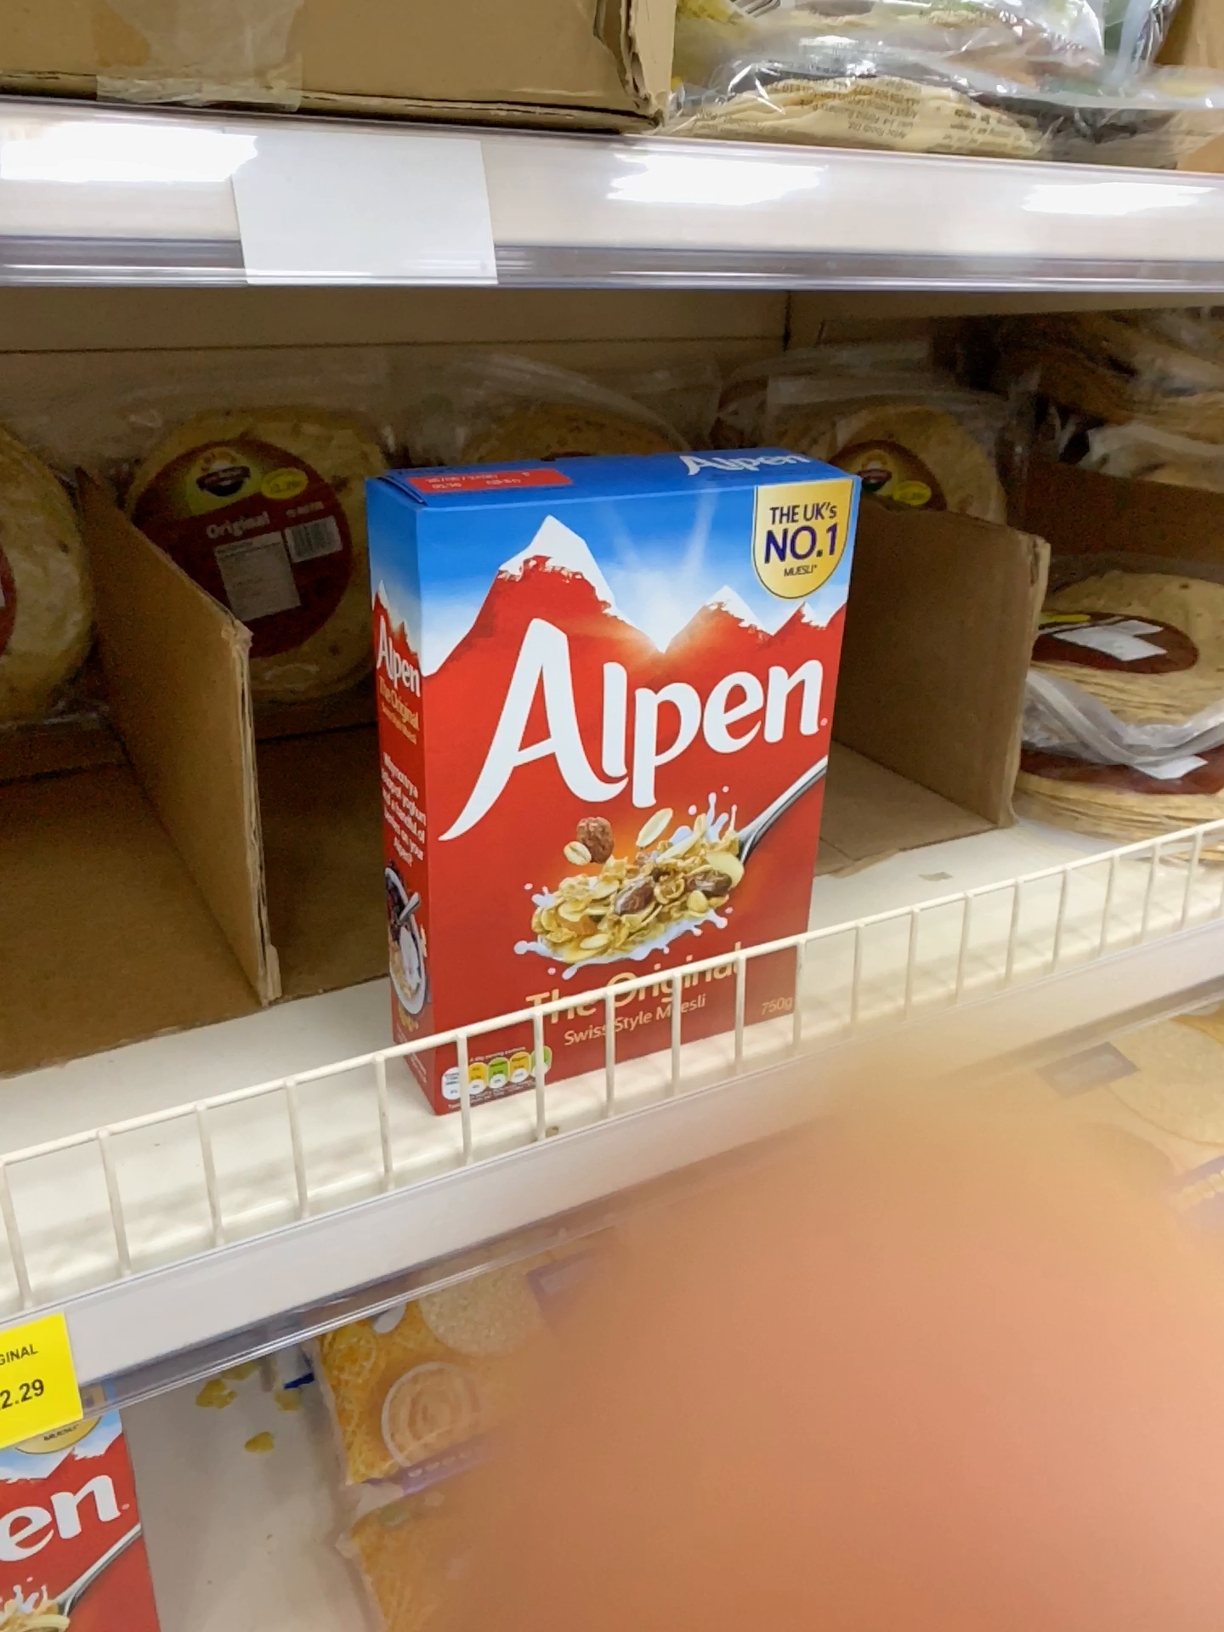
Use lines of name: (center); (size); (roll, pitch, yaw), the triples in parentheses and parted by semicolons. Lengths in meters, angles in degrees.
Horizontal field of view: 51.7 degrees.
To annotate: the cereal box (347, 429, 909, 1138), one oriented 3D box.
cereal box: (0.007, -0.020, 0.495); (0.191, 0.238, 0.070); (-12, 27, -27)
